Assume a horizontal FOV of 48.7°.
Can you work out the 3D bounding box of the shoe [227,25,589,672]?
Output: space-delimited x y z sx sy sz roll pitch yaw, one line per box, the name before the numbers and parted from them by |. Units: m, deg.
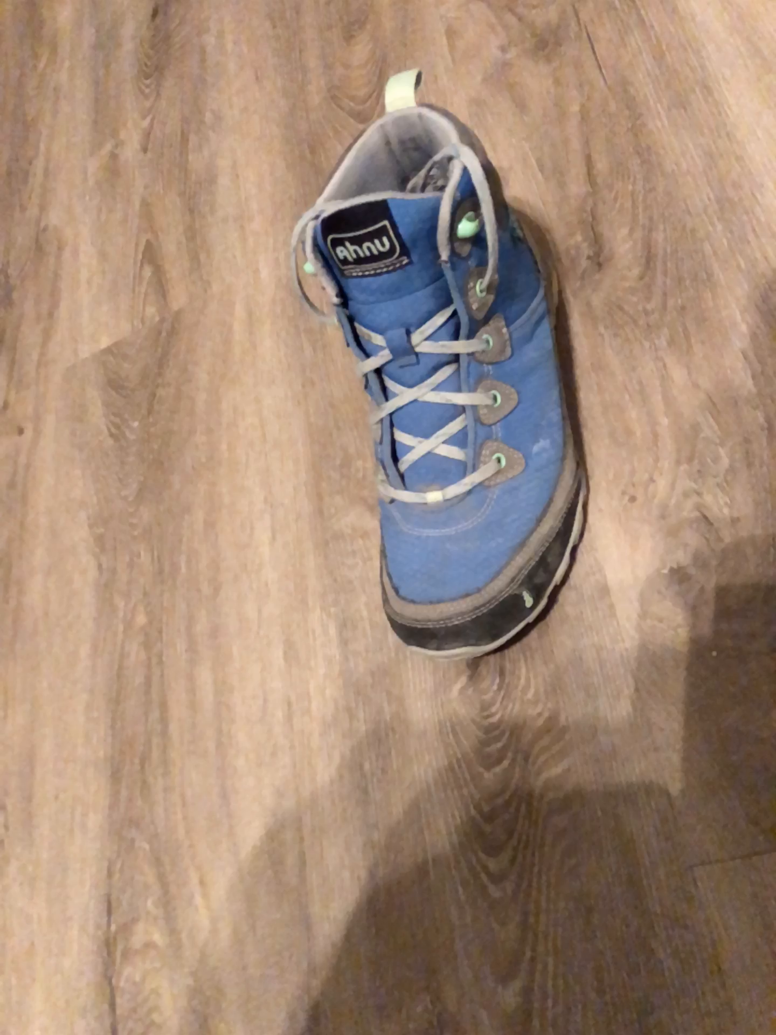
shoe | 0.026 -0.067 0.404 0.100 0.139 0.250 -6 66 27
